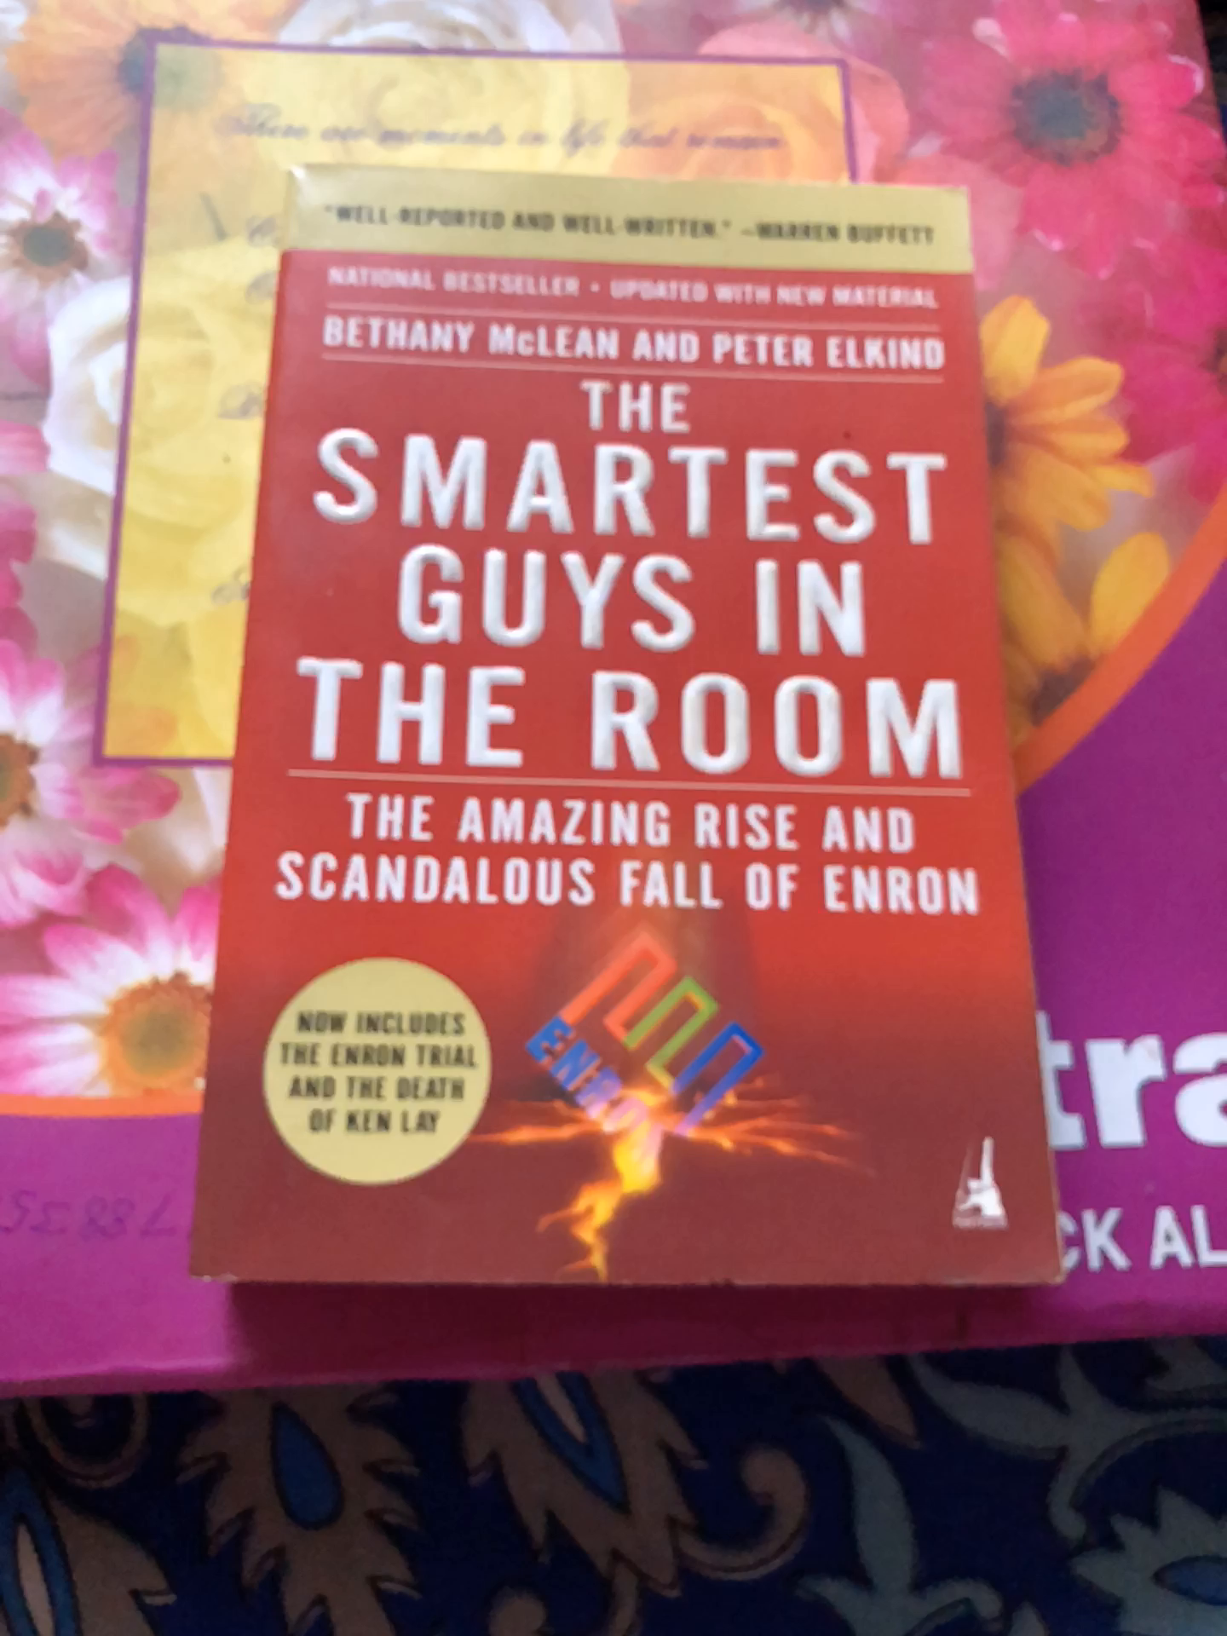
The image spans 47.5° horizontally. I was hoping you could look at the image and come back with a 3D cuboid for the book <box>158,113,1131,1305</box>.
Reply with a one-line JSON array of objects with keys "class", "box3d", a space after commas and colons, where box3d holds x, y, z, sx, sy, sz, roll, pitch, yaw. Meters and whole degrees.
[{"class": "book", "box3d": [0.006, -0.027, 0.263, 0.150, 0.040, 0.220, 0, 75, 1]}]
